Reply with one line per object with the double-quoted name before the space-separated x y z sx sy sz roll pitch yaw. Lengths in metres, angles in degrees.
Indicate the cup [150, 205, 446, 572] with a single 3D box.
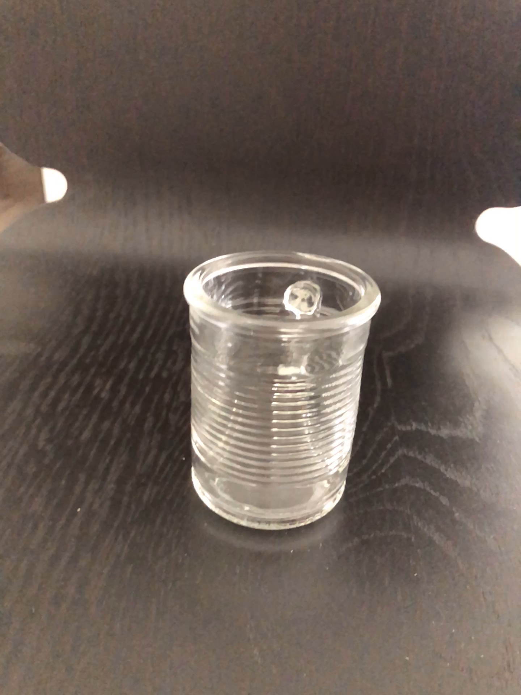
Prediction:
"cup" 0.014 0.006 0.204 0.060 0.080 0.090 20 33 22
